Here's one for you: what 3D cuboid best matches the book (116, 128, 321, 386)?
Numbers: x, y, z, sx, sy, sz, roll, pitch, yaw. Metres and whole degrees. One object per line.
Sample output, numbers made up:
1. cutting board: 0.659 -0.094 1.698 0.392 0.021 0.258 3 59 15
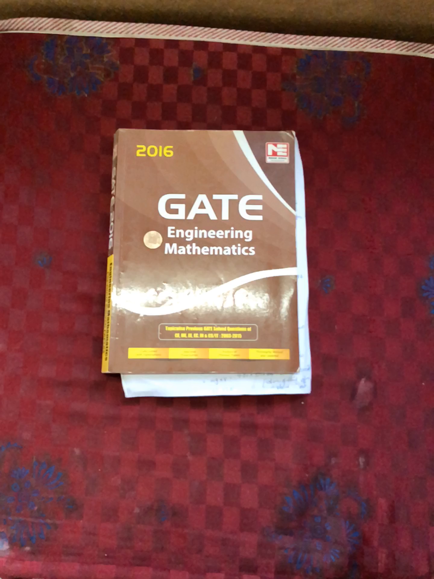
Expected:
1. book: 0.003 -0.041 0.568 0.220 0.040 0.300 1 78 -1
